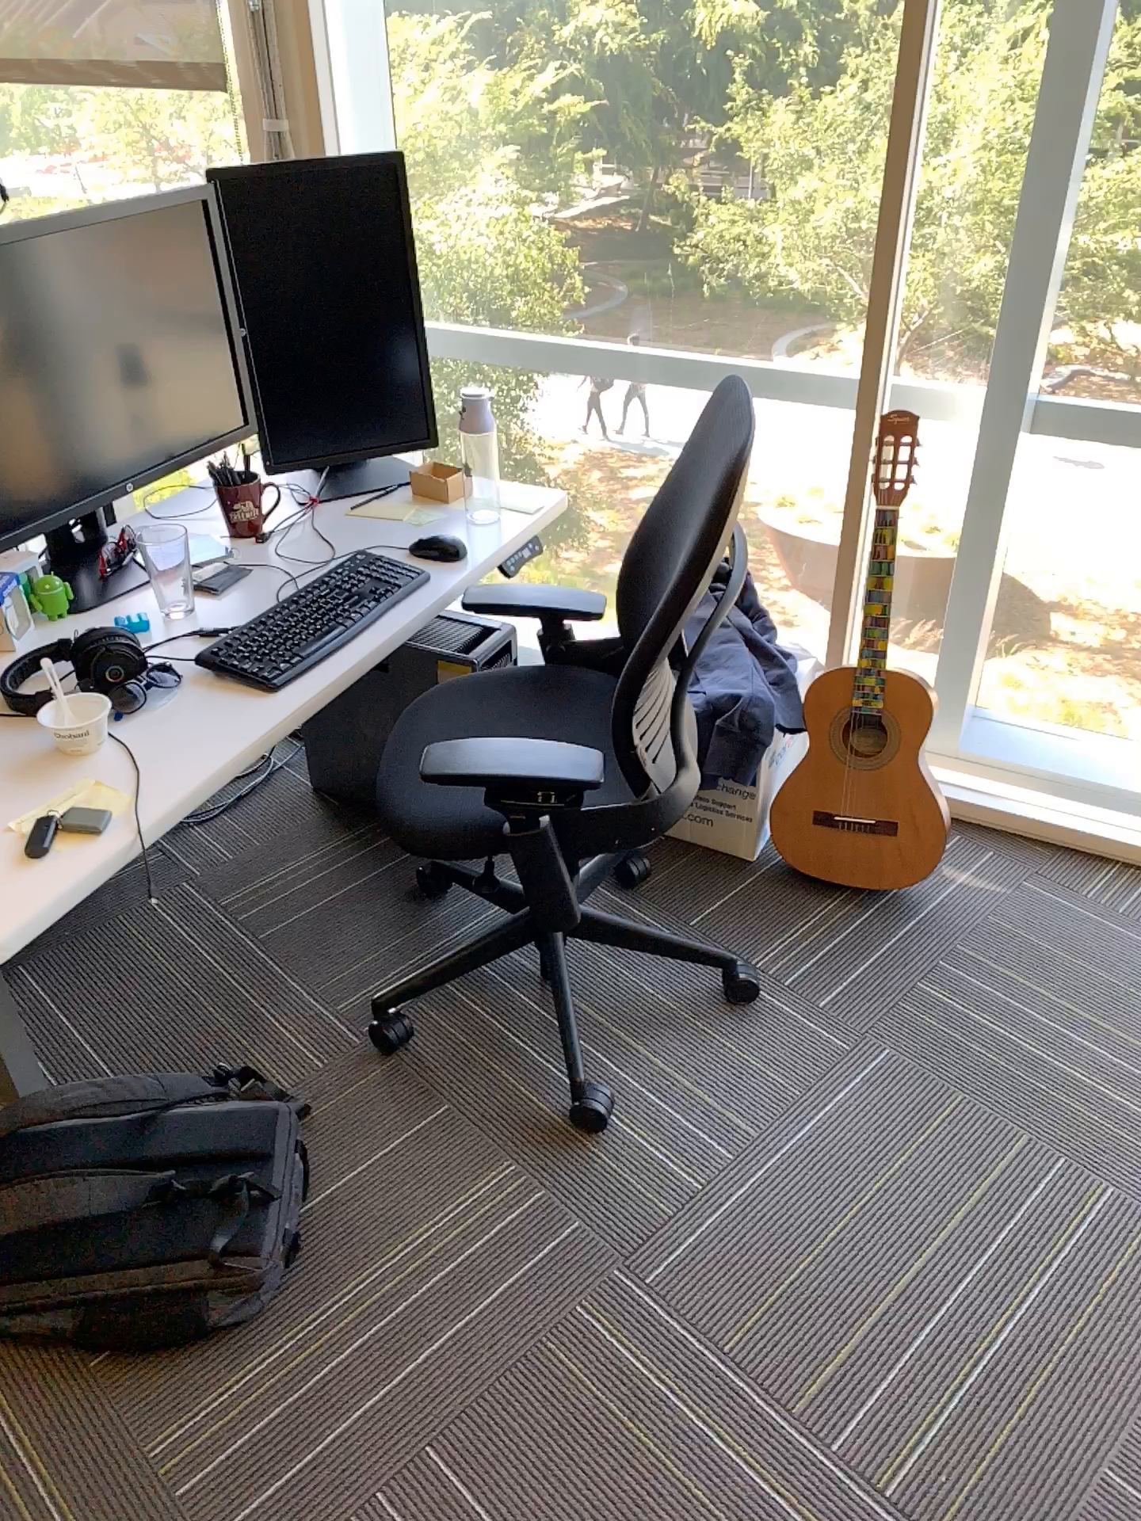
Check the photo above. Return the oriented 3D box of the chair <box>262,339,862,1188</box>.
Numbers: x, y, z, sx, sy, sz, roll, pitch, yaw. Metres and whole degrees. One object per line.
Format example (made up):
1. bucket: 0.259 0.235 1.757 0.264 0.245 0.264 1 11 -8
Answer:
1. chair: -0.011 0.017 1.971 0.690 1.222 0.714 -2 33 -1
